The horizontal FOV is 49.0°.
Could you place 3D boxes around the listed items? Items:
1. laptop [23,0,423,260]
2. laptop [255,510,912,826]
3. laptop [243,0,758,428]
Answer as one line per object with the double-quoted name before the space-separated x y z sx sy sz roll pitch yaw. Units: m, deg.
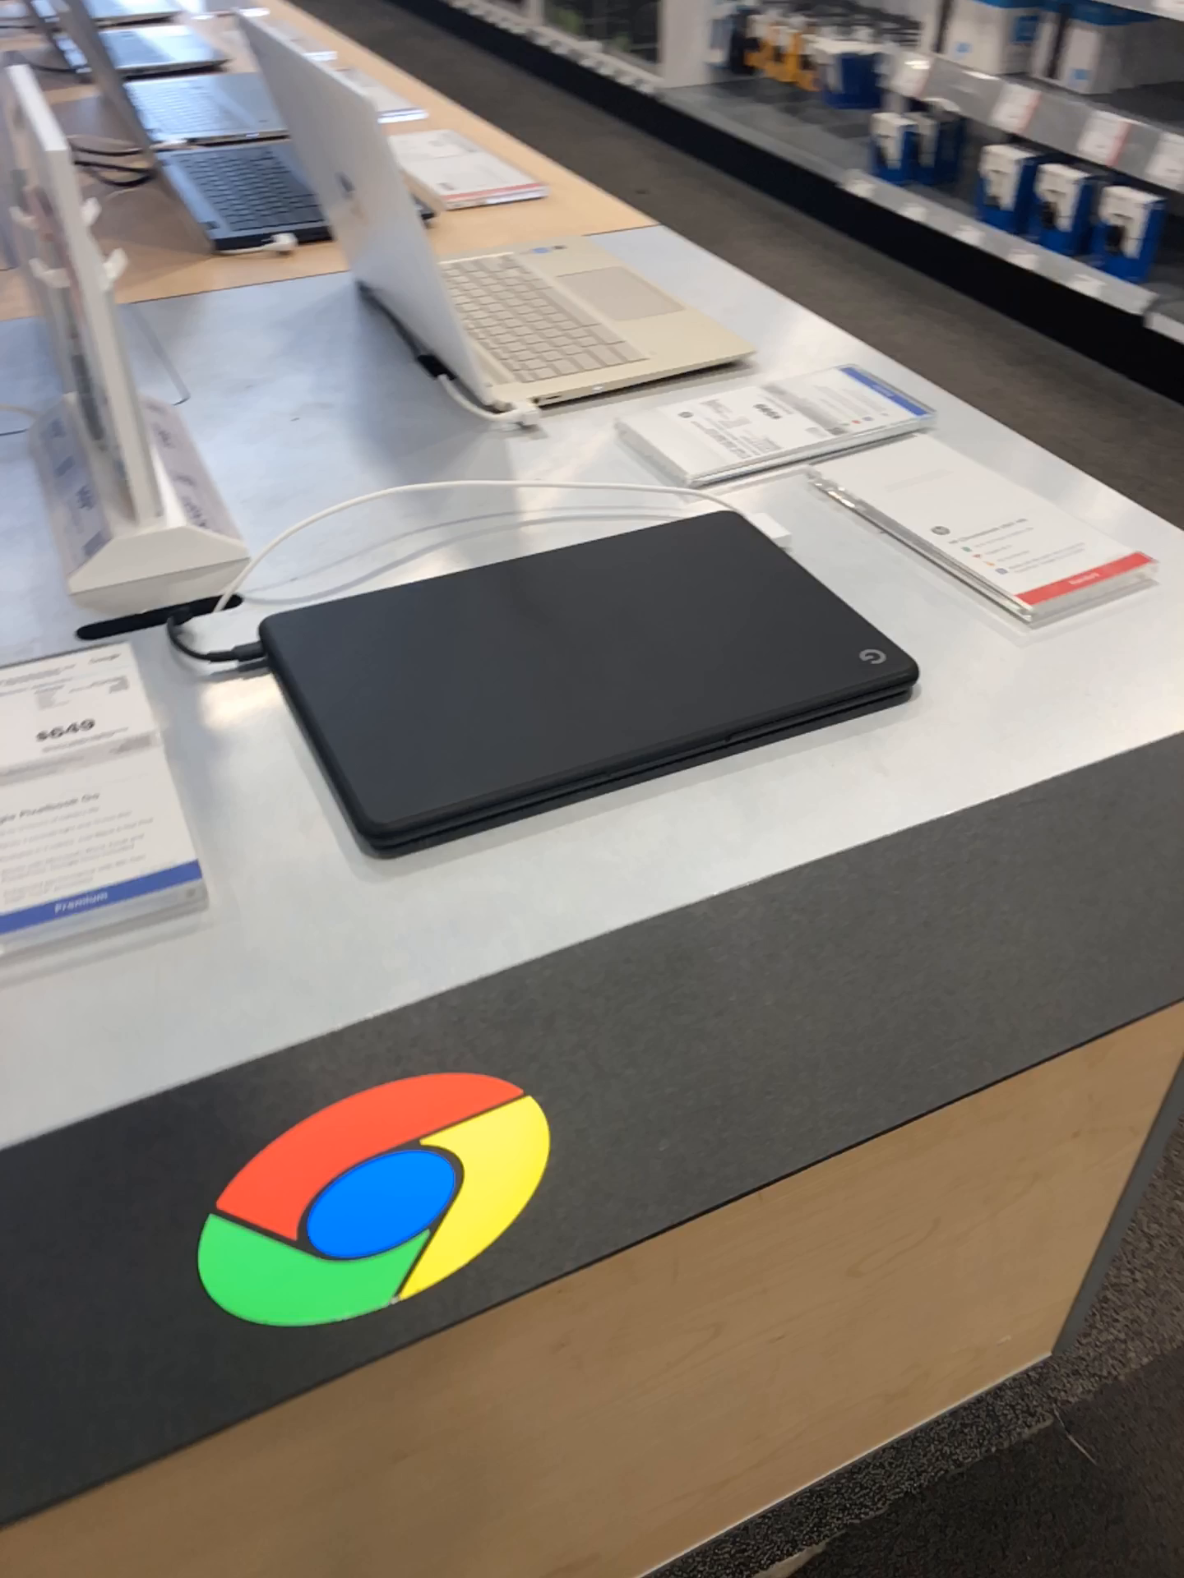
"laptop" -0.360 -0.687 1.269 0.287 0.189 0.307 -18 44 -20
"laptop" -0.008 -0.079 0.688 0.296 0.001 0.195 -16 42 -21
"laptop" -0.078 -0.464 0.998 0.274 0.206 0.304 -18 43 -20
